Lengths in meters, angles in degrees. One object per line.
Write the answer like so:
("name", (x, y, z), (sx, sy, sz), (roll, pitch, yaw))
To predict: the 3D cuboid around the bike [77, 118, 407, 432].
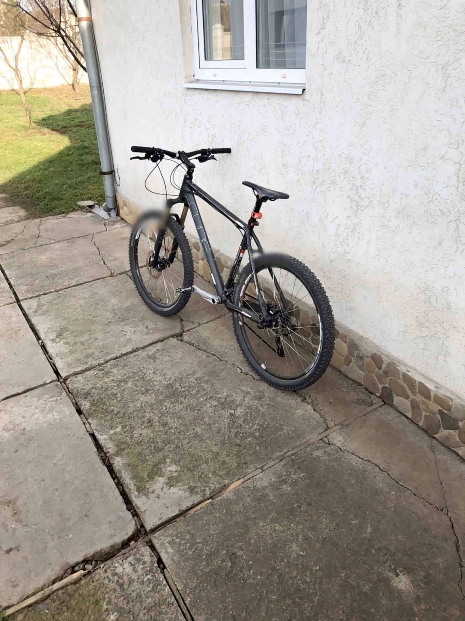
("bike", (-0.073, -0.366, 2.836), (0.688, 1.090, 1.779), (-21, 34, -33))
